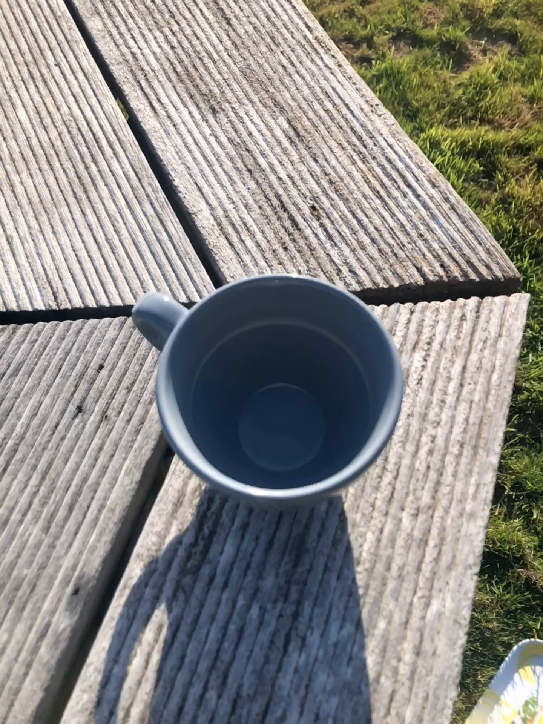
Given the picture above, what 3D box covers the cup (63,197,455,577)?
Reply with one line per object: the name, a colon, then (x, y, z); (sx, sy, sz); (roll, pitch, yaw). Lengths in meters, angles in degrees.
cup: (-0.005, 0.008, 0.232); (0.091, 0.052, 0.105); (-39, 70, -16)
